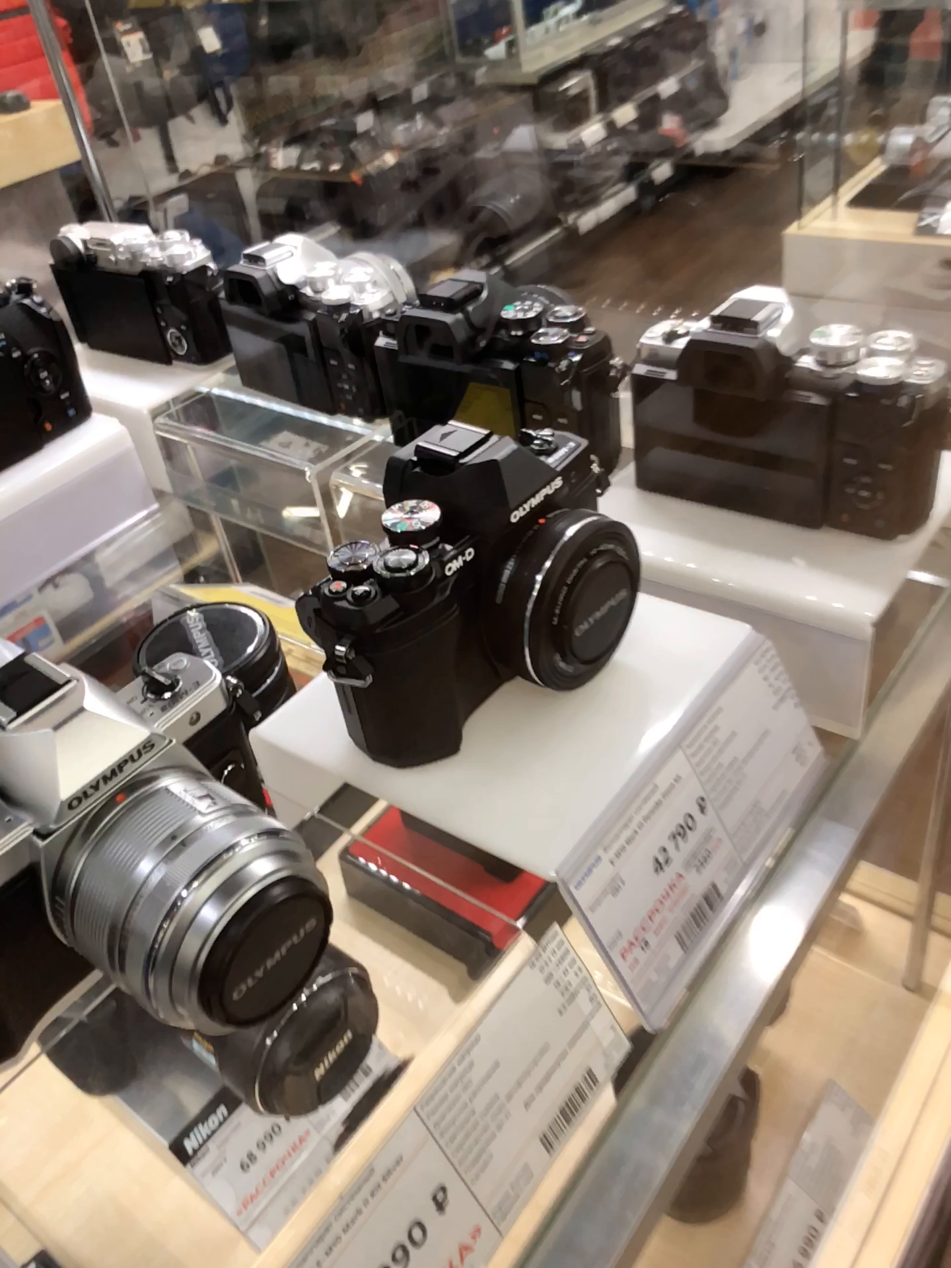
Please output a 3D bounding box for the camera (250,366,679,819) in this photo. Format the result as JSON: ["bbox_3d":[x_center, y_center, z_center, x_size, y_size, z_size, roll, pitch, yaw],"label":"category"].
[{"bbox_3d":[0.005,-0.020,0.354,0.064,0.082,0.130,22,48,36],"label":"camera"}]

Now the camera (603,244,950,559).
[{"bbox_3d":[0.132,-0.100,0.426,0.123,0.074,0.094,18,46,33],"label":"camera"}]

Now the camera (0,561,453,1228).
[{"bbox_3d":[-0.083,0.056,0.268,0.094,0.080,0.112,22,48,36],"label":"camera"}]
